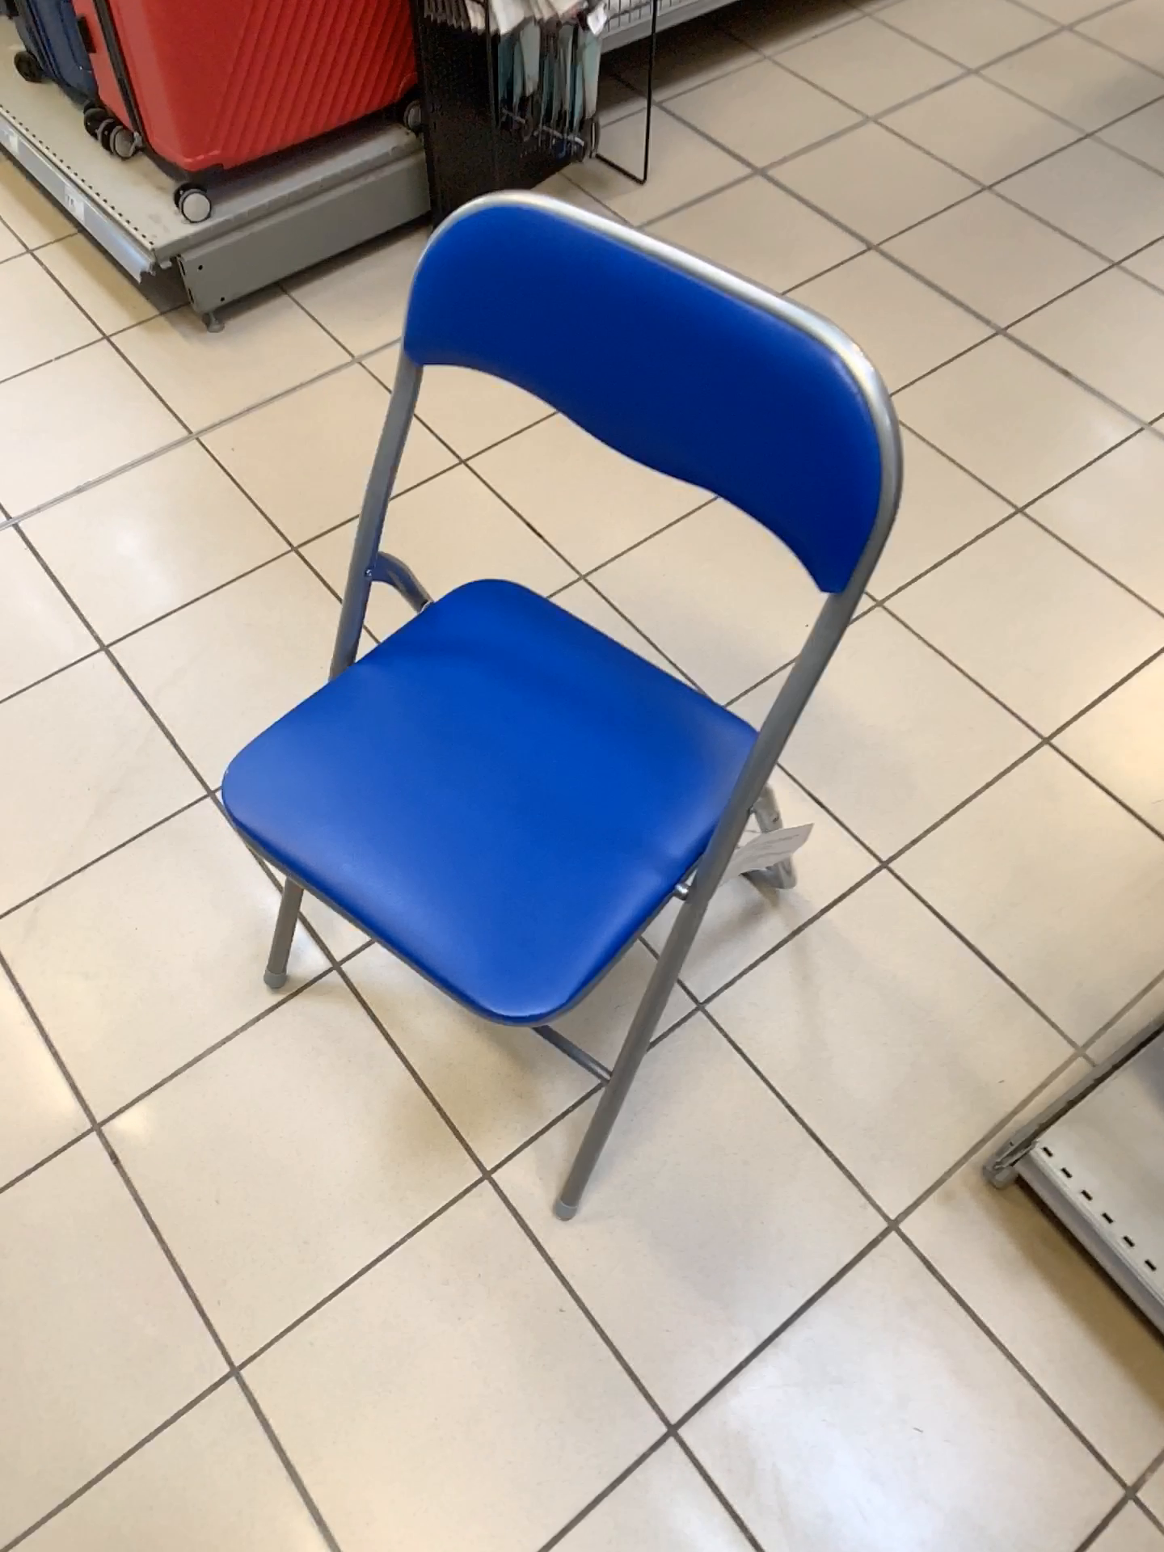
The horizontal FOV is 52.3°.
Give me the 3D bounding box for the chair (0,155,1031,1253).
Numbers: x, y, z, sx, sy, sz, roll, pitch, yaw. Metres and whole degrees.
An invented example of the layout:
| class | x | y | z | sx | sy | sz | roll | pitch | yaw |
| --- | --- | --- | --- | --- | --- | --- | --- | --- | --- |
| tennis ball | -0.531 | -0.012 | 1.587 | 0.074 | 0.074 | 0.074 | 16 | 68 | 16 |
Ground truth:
| class | x | y | z | sx | sy | sz | roll | pitch | yaw |
| --- | --- | --- | --- | --- | --- | --- | --- | --- | --- |
| chair | -0.047 | -0.023 | 1.042 | 0.479 | 0.664 | 0.525 | 32 | 63 | 19 |
